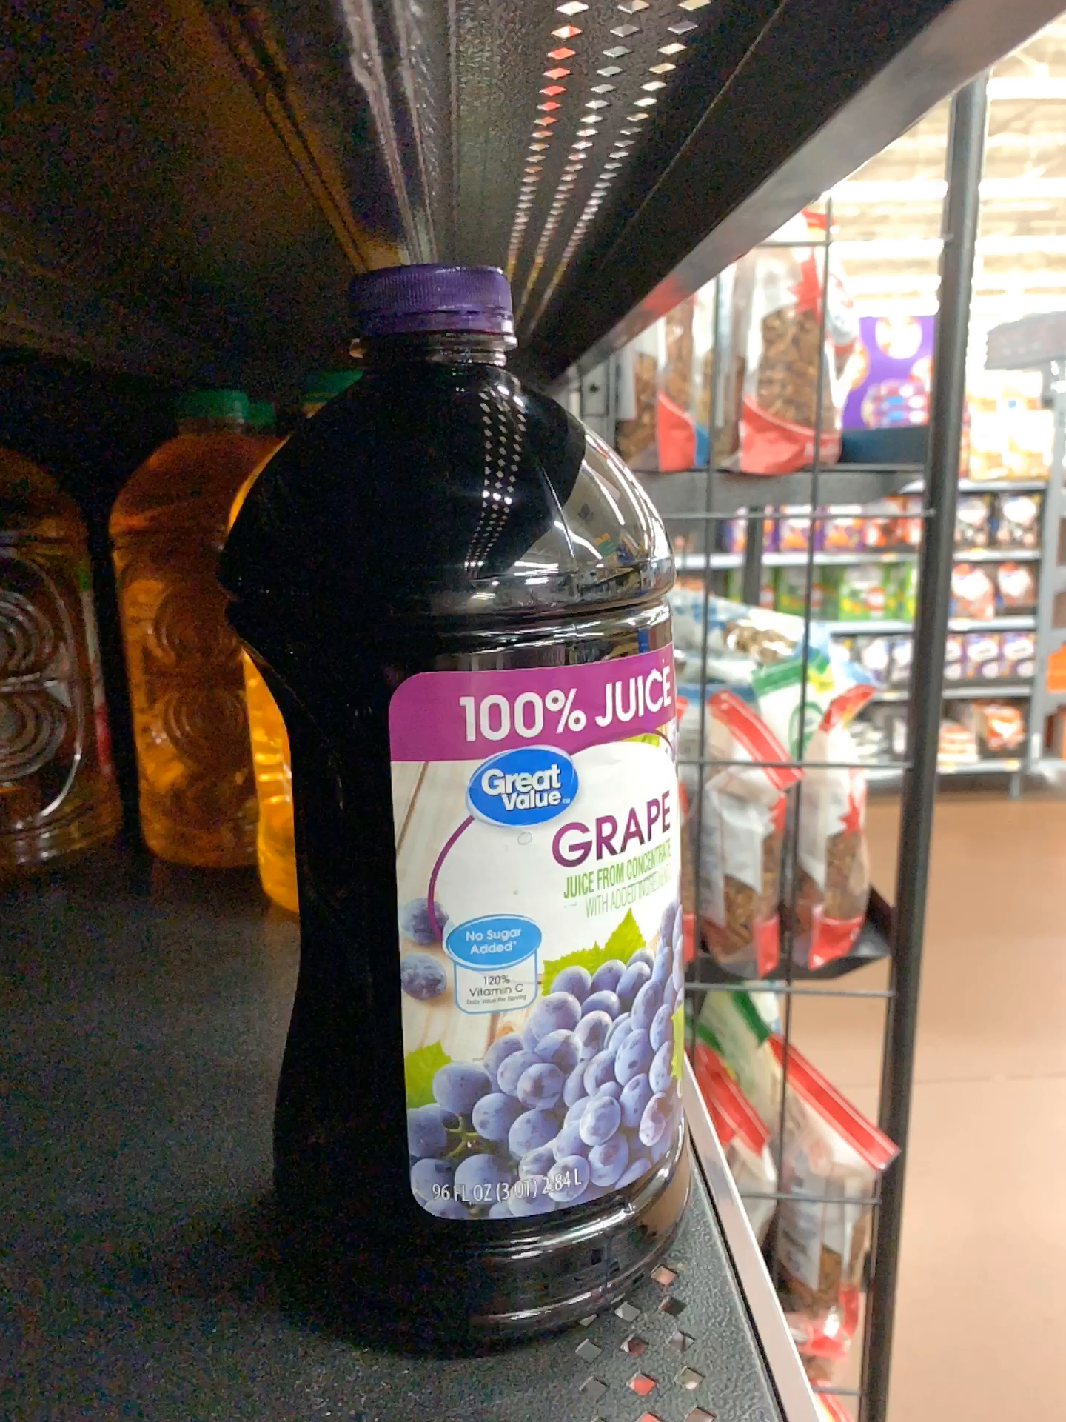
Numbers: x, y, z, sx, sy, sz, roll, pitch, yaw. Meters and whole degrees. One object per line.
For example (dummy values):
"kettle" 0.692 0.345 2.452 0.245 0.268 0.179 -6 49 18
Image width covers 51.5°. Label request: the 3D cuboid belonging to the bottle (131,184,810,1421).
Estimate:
"bottle" -0.021 0.018 0.326 0.130 0.279 0.140 -1 12 0
